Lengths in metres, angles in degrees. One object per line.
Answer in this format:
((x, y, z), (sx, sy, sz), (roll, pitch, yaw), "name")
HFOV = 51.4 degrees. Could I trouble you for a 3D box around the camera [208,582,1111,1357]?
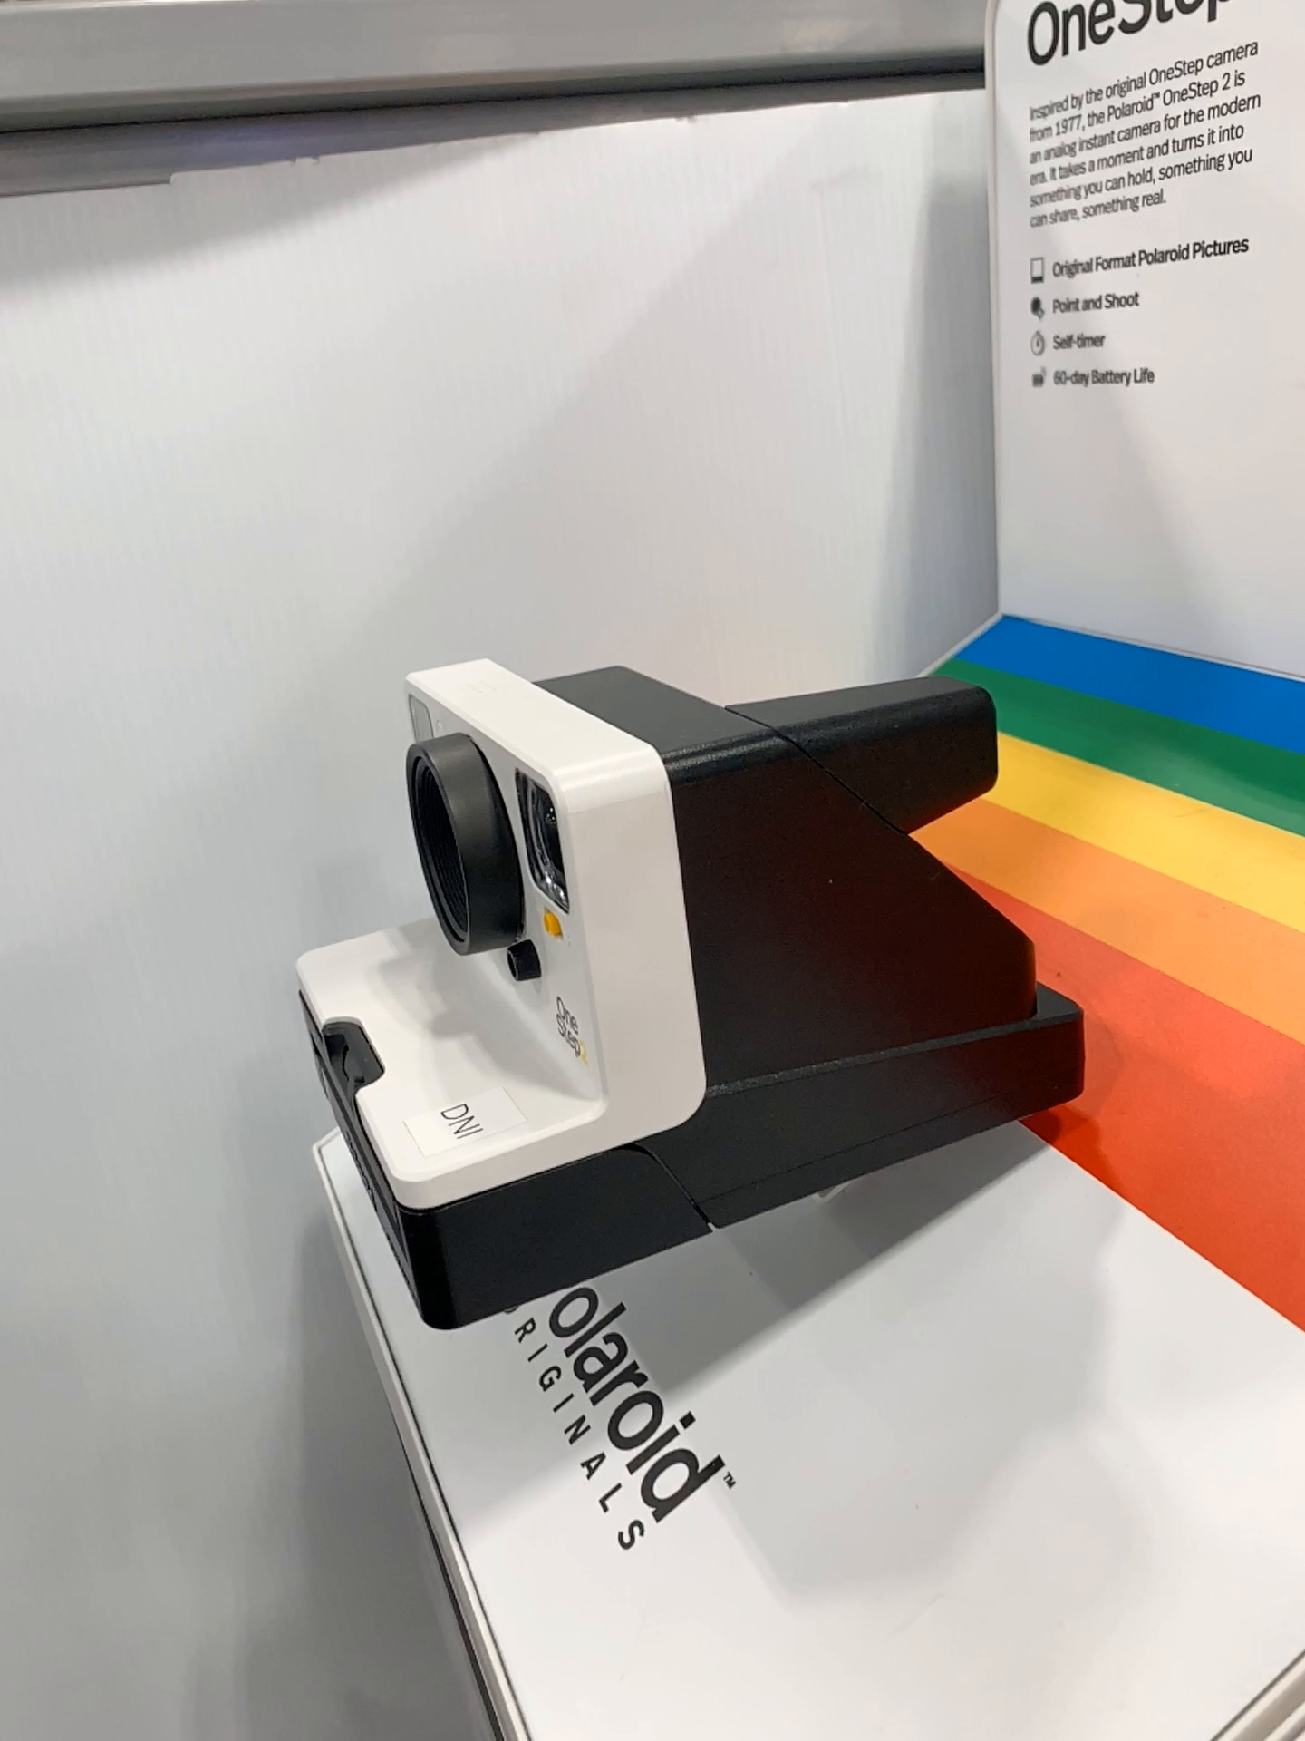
((-0.003, 0.004, 0.286), (0.144, 0.090, 0.121), (-15, 23, -19), "camera")
